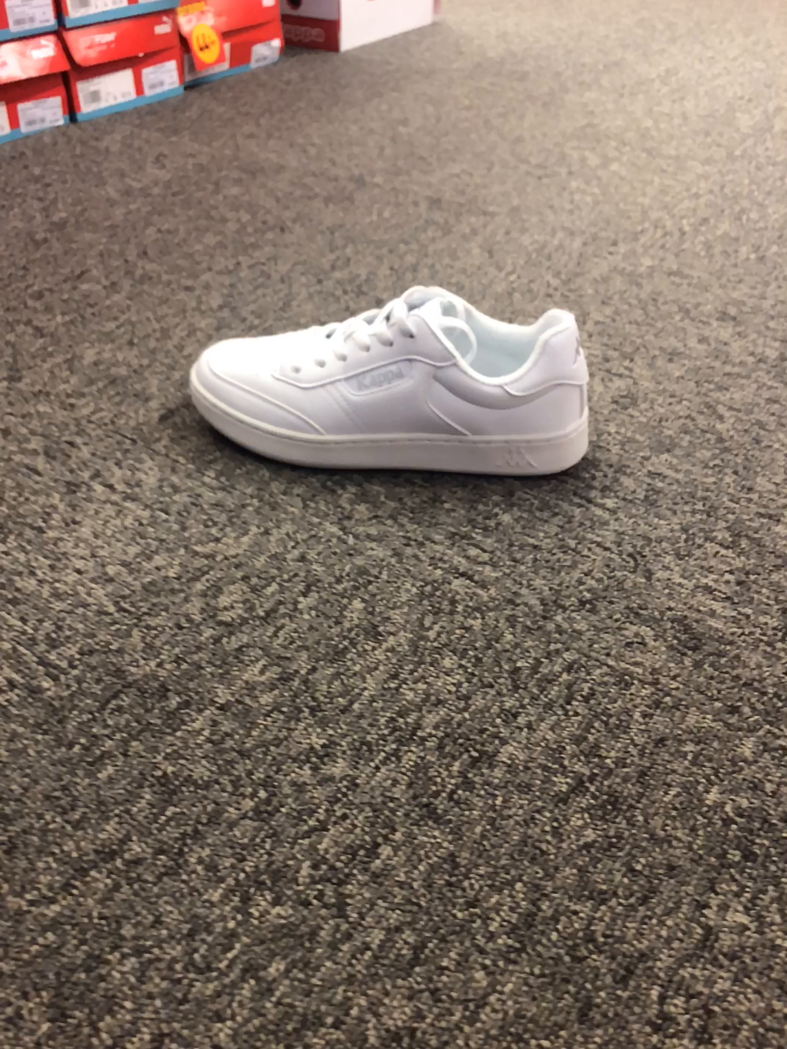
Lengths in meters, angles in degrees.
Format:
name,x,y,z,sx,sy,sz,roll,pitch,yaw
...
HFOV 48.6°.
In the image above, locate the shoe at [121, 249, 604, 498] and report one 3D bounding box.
name,x,y,z,sx,sy,sz,roll,pitch,yaw
shoe,-0.012,-0.096,0.526,0.260,0.089,0.101,7,40,11
